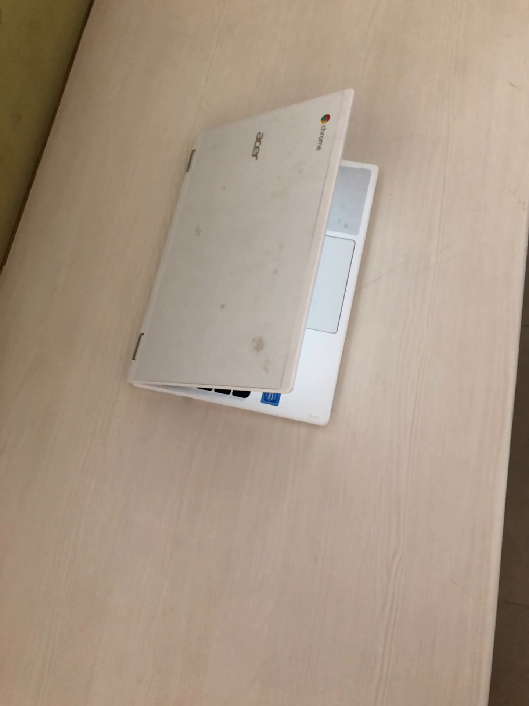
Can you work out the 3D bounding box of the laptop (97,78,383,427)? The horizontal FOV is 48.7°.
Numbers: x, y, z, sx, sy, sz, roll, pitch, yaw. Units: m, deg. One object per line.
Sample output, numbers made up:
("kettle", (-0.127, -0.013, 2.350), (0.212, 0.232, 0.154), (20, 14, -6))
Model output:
("laptop", (-0.010, -0.098, 0.567), (0.196, 0.105, 0.290), (10, 74, 6))
